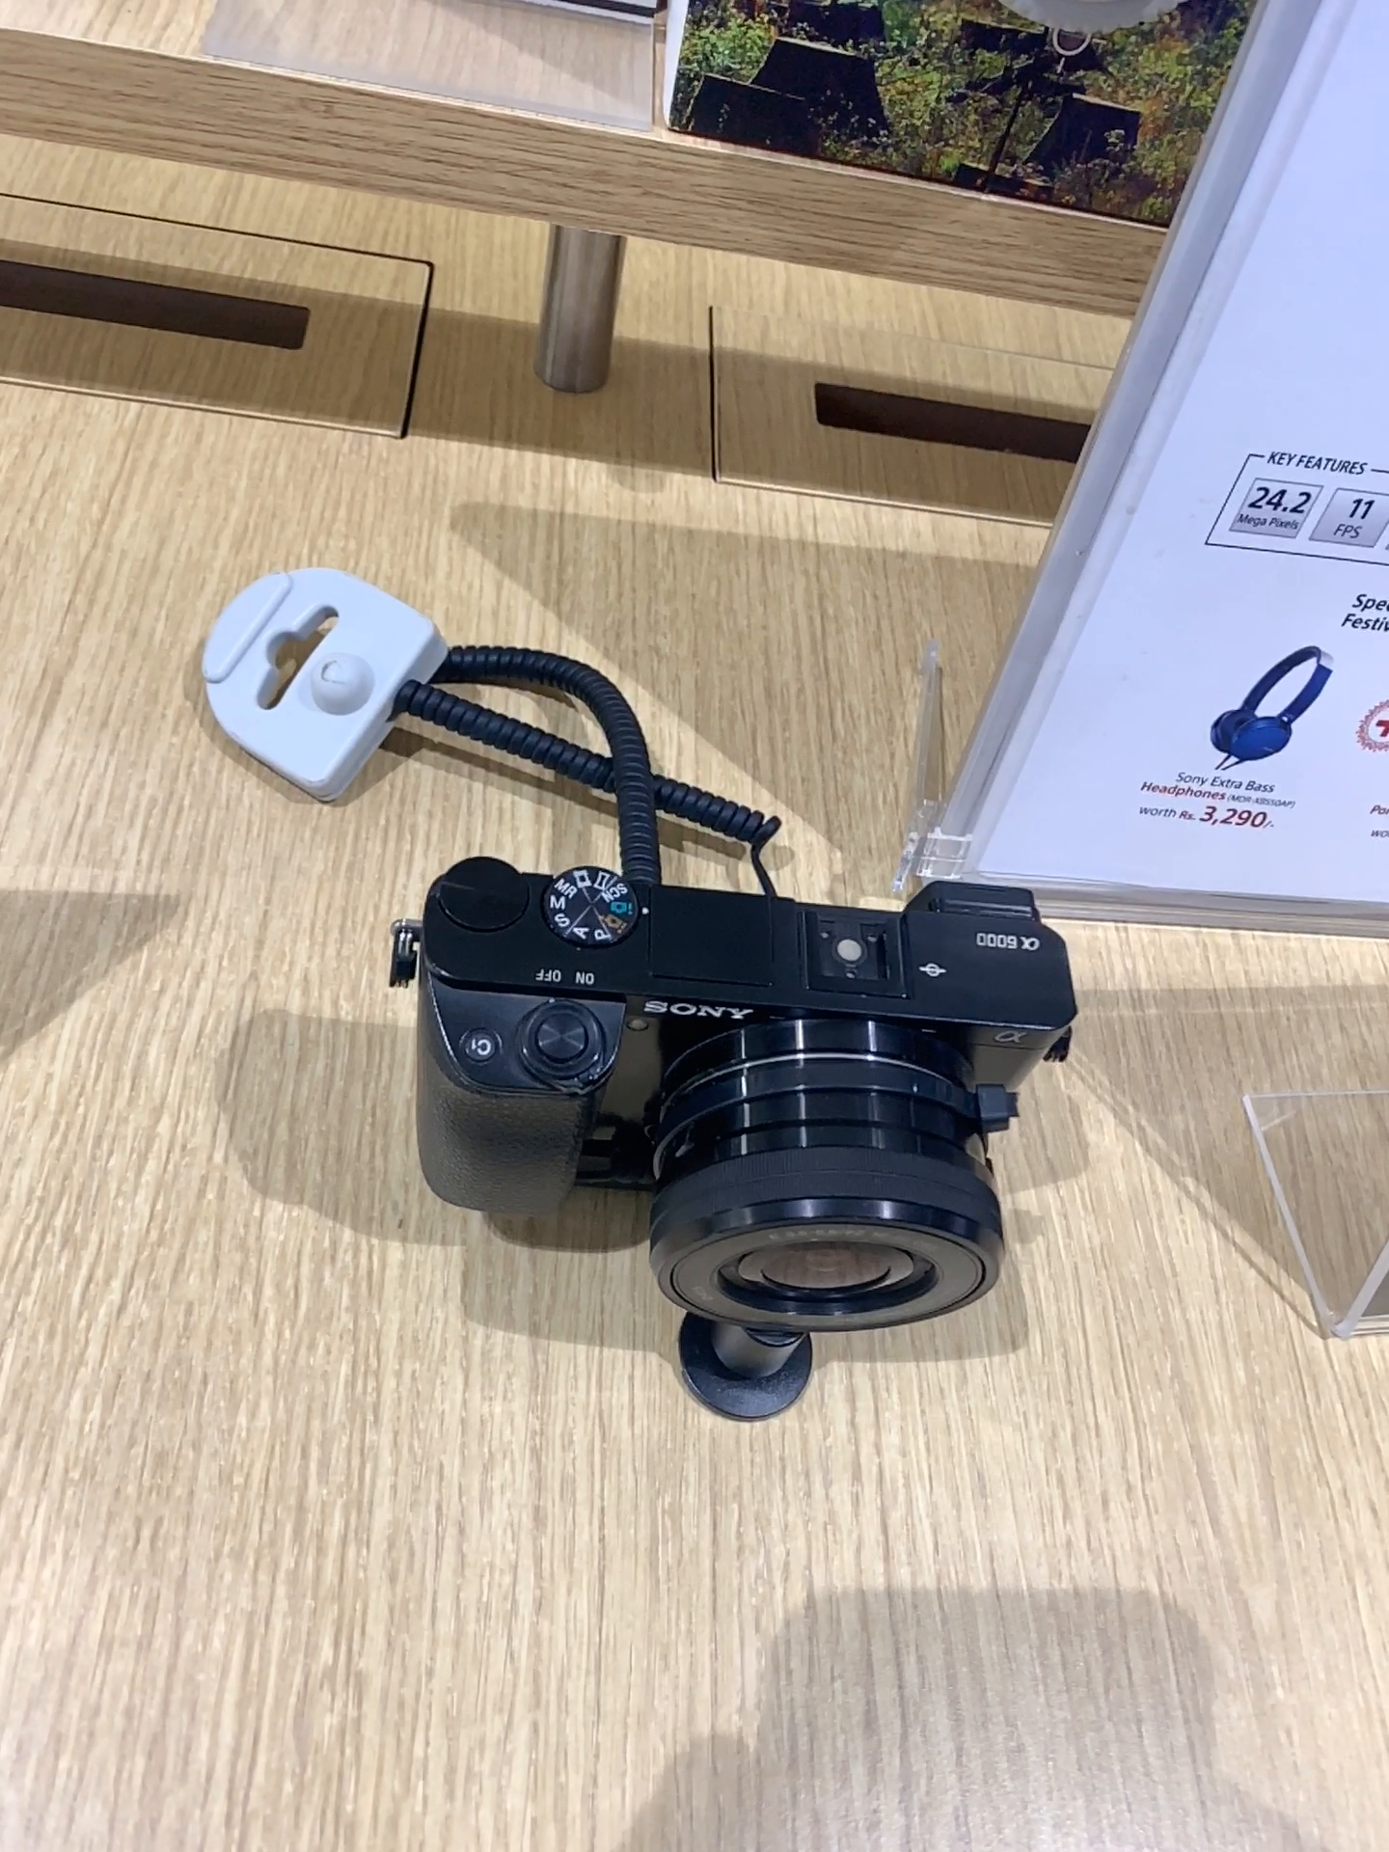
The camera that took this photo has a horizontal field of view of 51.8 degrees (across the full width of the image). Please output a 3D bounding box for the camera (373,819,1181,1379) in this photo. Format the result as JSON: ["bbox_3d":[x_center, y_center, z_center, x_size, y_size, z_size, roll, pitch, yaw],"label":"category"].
[{"bbox_3d":[0.007,0.039,0.281,0.130,0.090,0.070,4,56,-9],"label":"camera"}]
